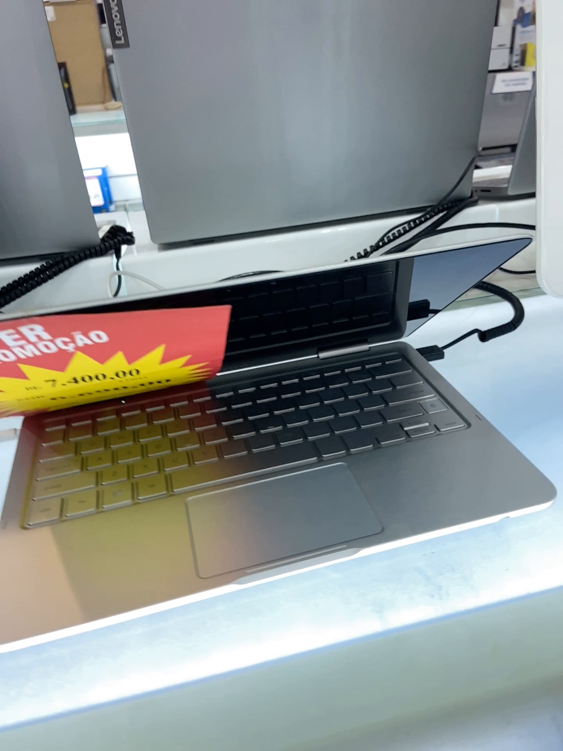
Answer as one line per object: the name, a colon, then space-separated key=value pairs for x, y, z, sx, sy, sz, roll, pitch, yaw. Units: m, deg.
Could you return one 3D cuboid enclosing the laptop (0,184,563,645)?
laptop: x=-0.021 y=-0.009 z=0.347 sx=0.306 sy=0.132 sz=0.202 roll=-11 pitch=30 yaw=-11
